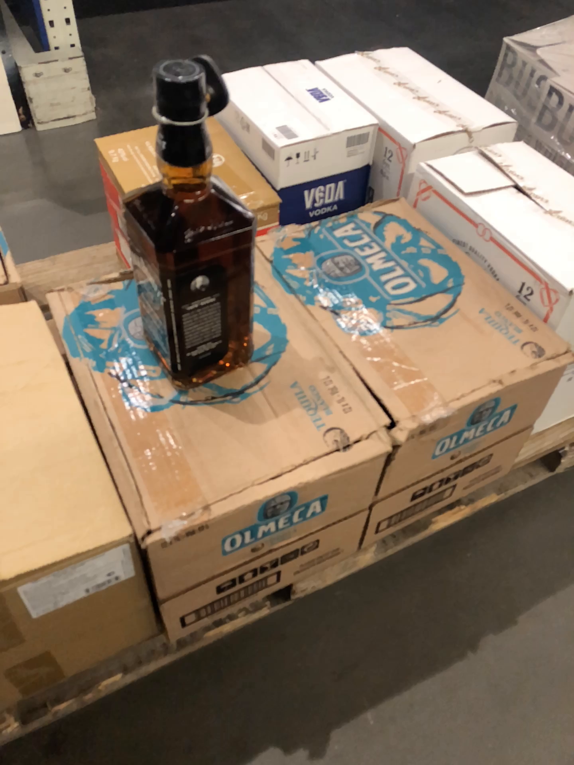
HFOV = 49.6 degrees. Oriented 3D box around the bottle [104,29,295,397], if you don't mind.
[{"bbox_3d":[-0.077,-0.143,0.593,0.110,0.308,0.110,2,48,-2],"label":"bottle"}]
